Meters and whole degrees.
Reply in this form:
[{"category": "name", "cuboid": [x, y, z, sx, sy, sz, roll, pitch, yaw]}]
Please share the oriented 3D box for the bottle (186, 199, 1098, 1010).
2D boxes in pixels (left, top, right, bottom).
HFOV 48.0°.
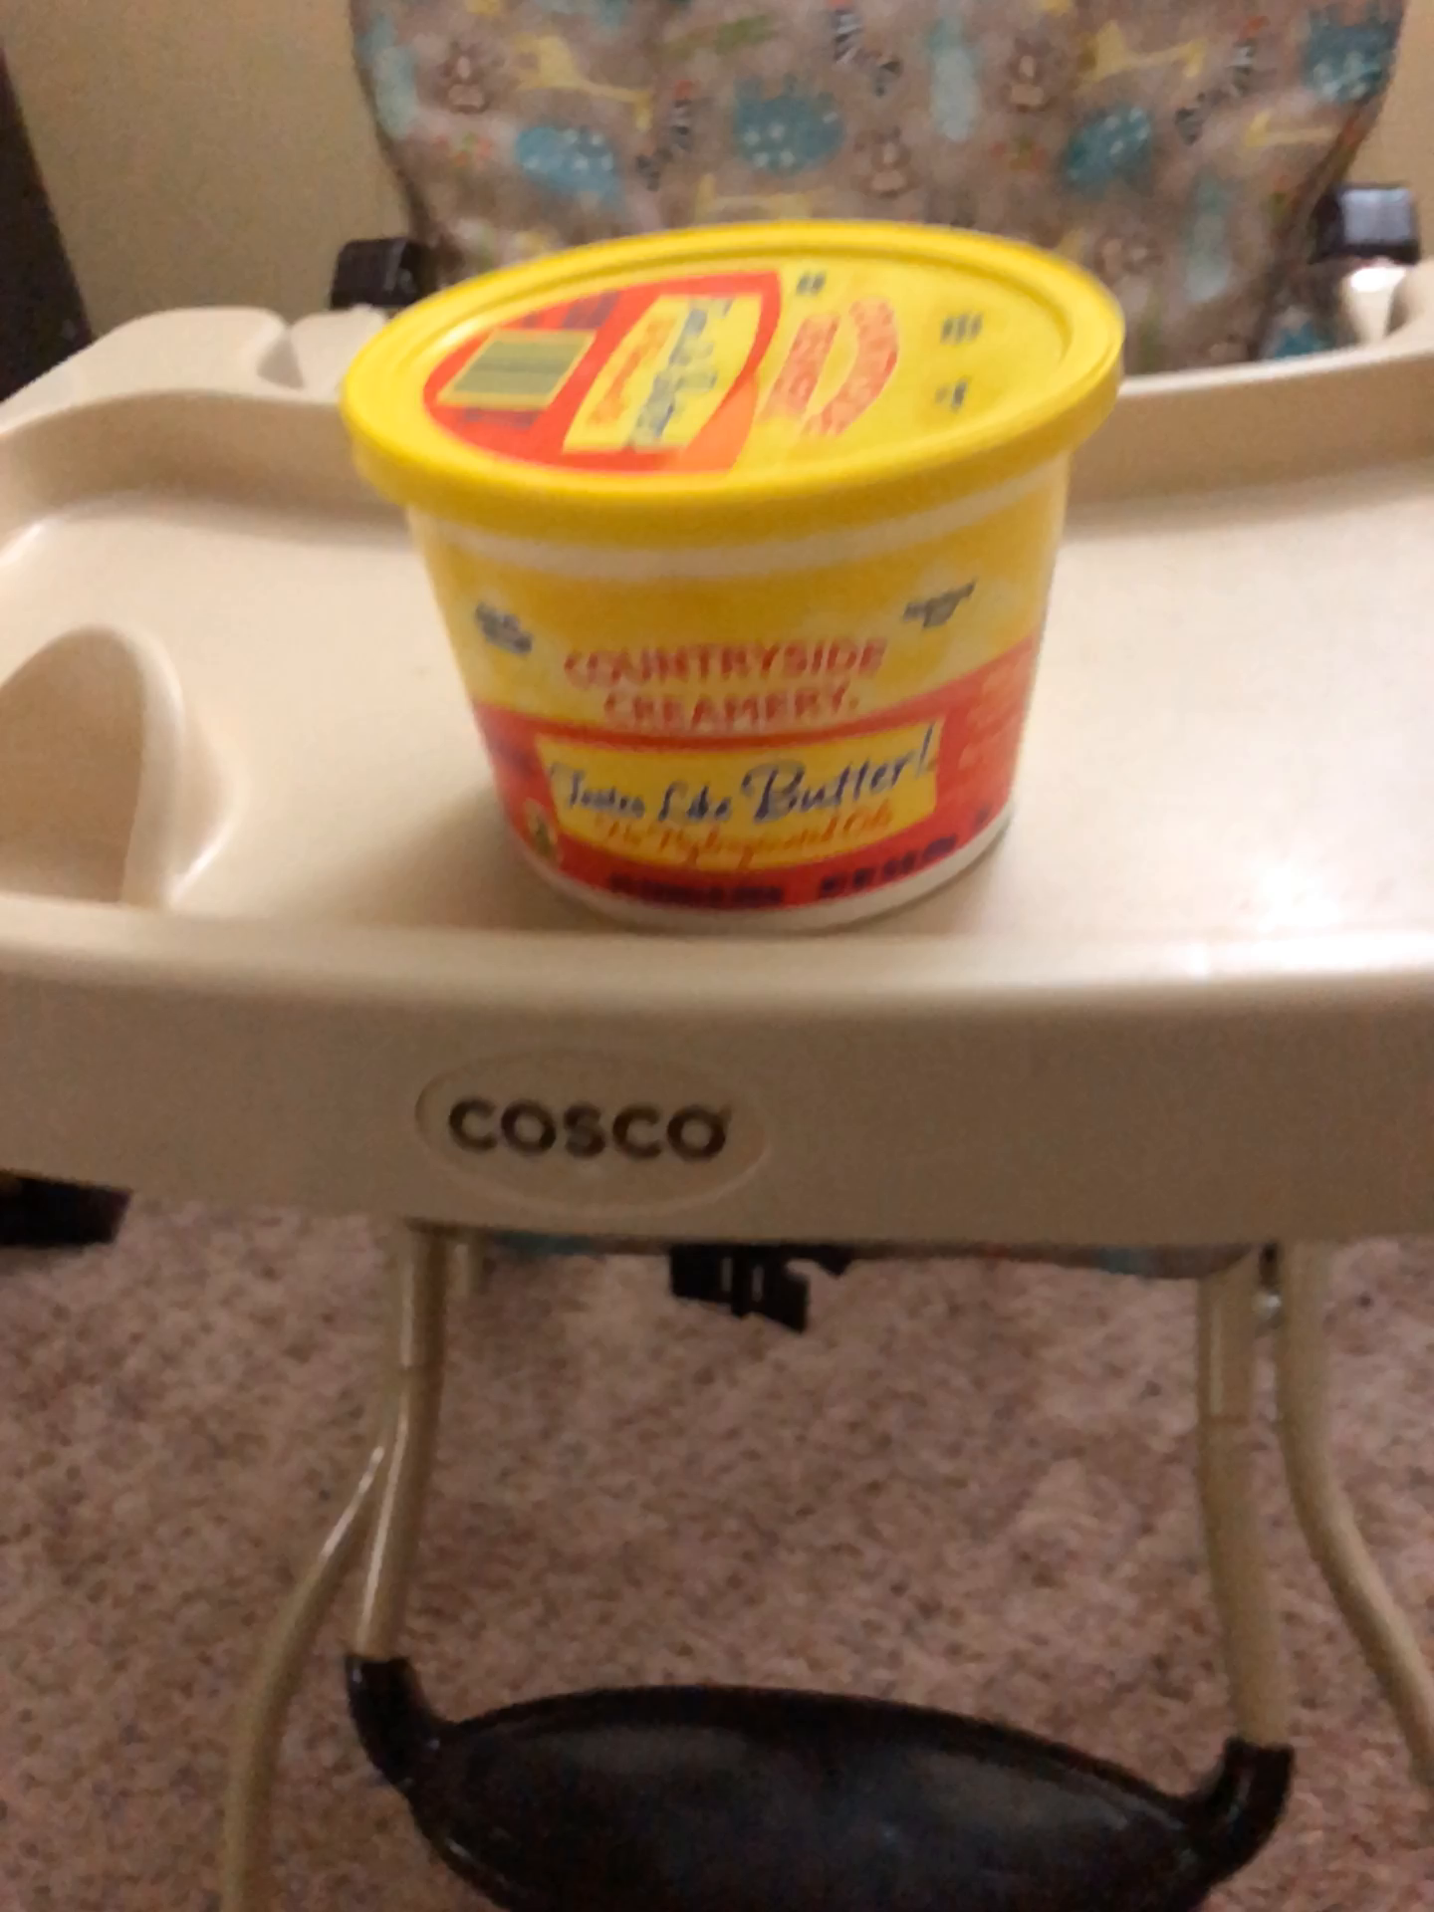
[{"category": "bottle", "cuboid": [0.001, -0.064, 0.277, 0.120, 0.090, 0.110, -4, 39, 3]}]
